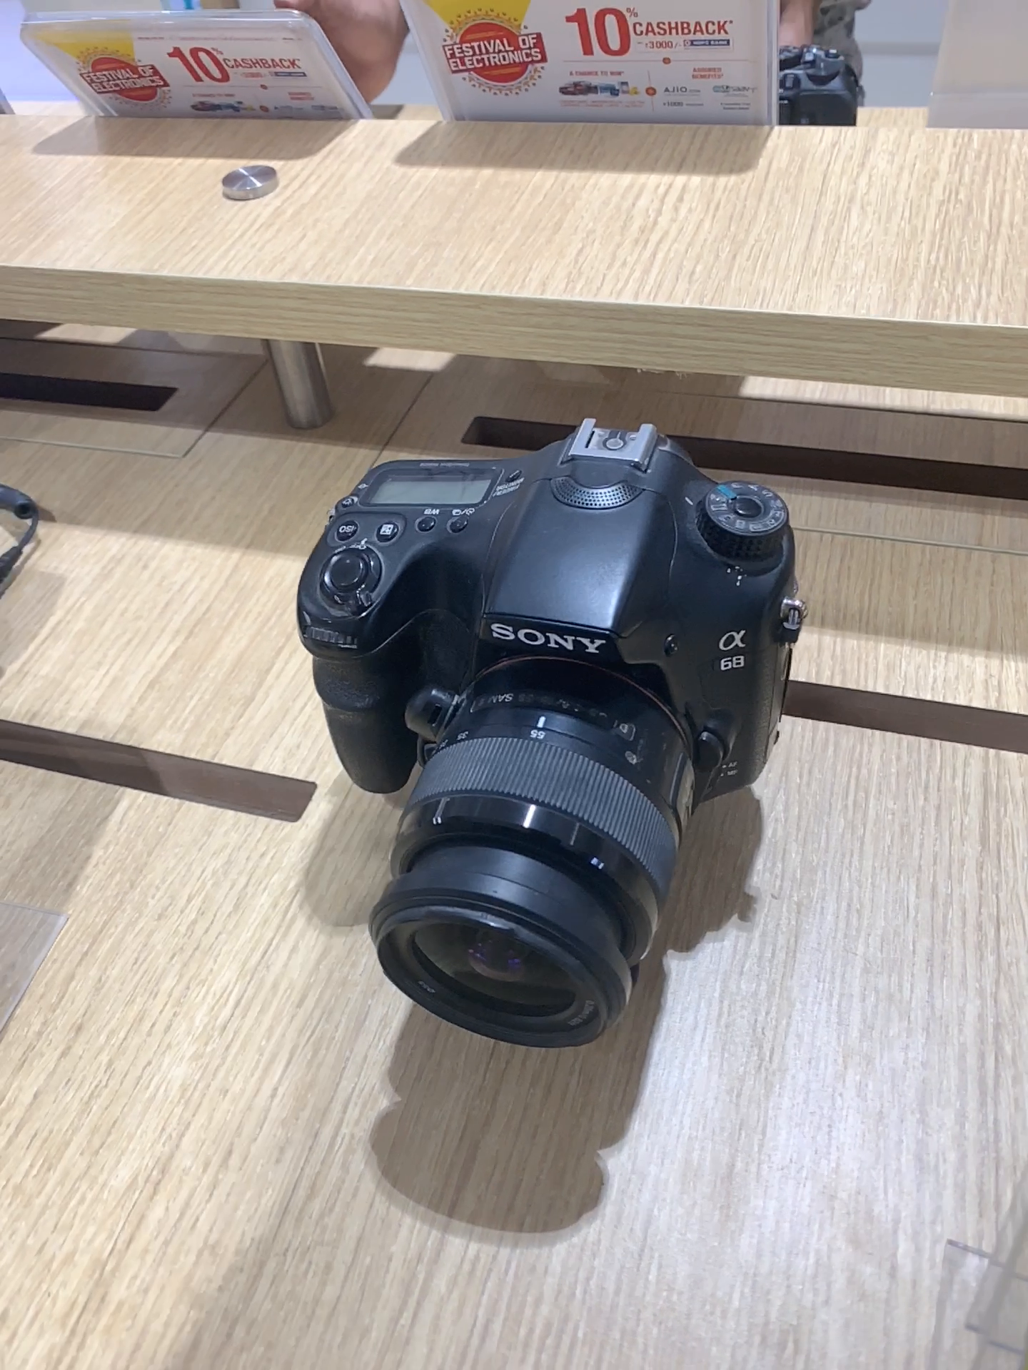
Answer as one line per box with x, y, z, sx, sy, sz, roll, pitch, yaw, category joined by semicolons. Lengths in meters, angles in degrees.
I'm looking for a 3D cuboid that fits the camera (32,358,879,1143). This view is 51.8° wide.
0.002;0.005;0.274;0.150;0.100;0.150;9;49;15;camera
